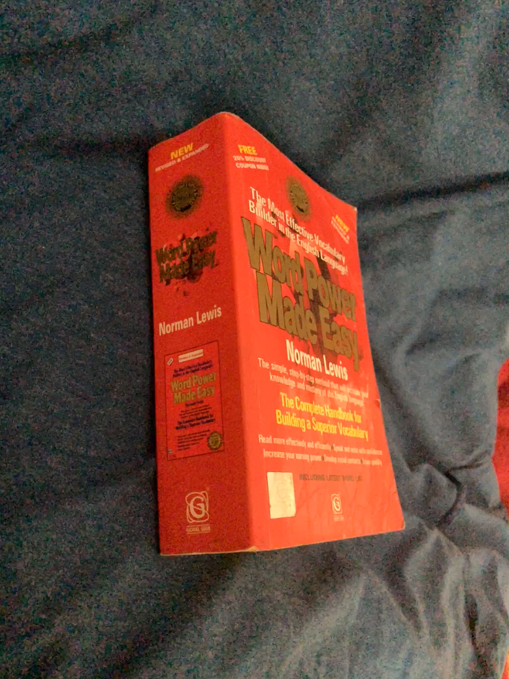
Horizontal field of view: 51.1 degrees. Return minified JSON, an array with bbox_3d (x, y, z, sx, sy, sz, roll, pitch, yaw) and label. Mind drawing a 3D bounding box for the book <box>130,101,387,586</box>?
[{"bbox_3d":[0.010,0.008,0.257,0.121,0.050,0.190,26,58,-51],"label":"book"}]
